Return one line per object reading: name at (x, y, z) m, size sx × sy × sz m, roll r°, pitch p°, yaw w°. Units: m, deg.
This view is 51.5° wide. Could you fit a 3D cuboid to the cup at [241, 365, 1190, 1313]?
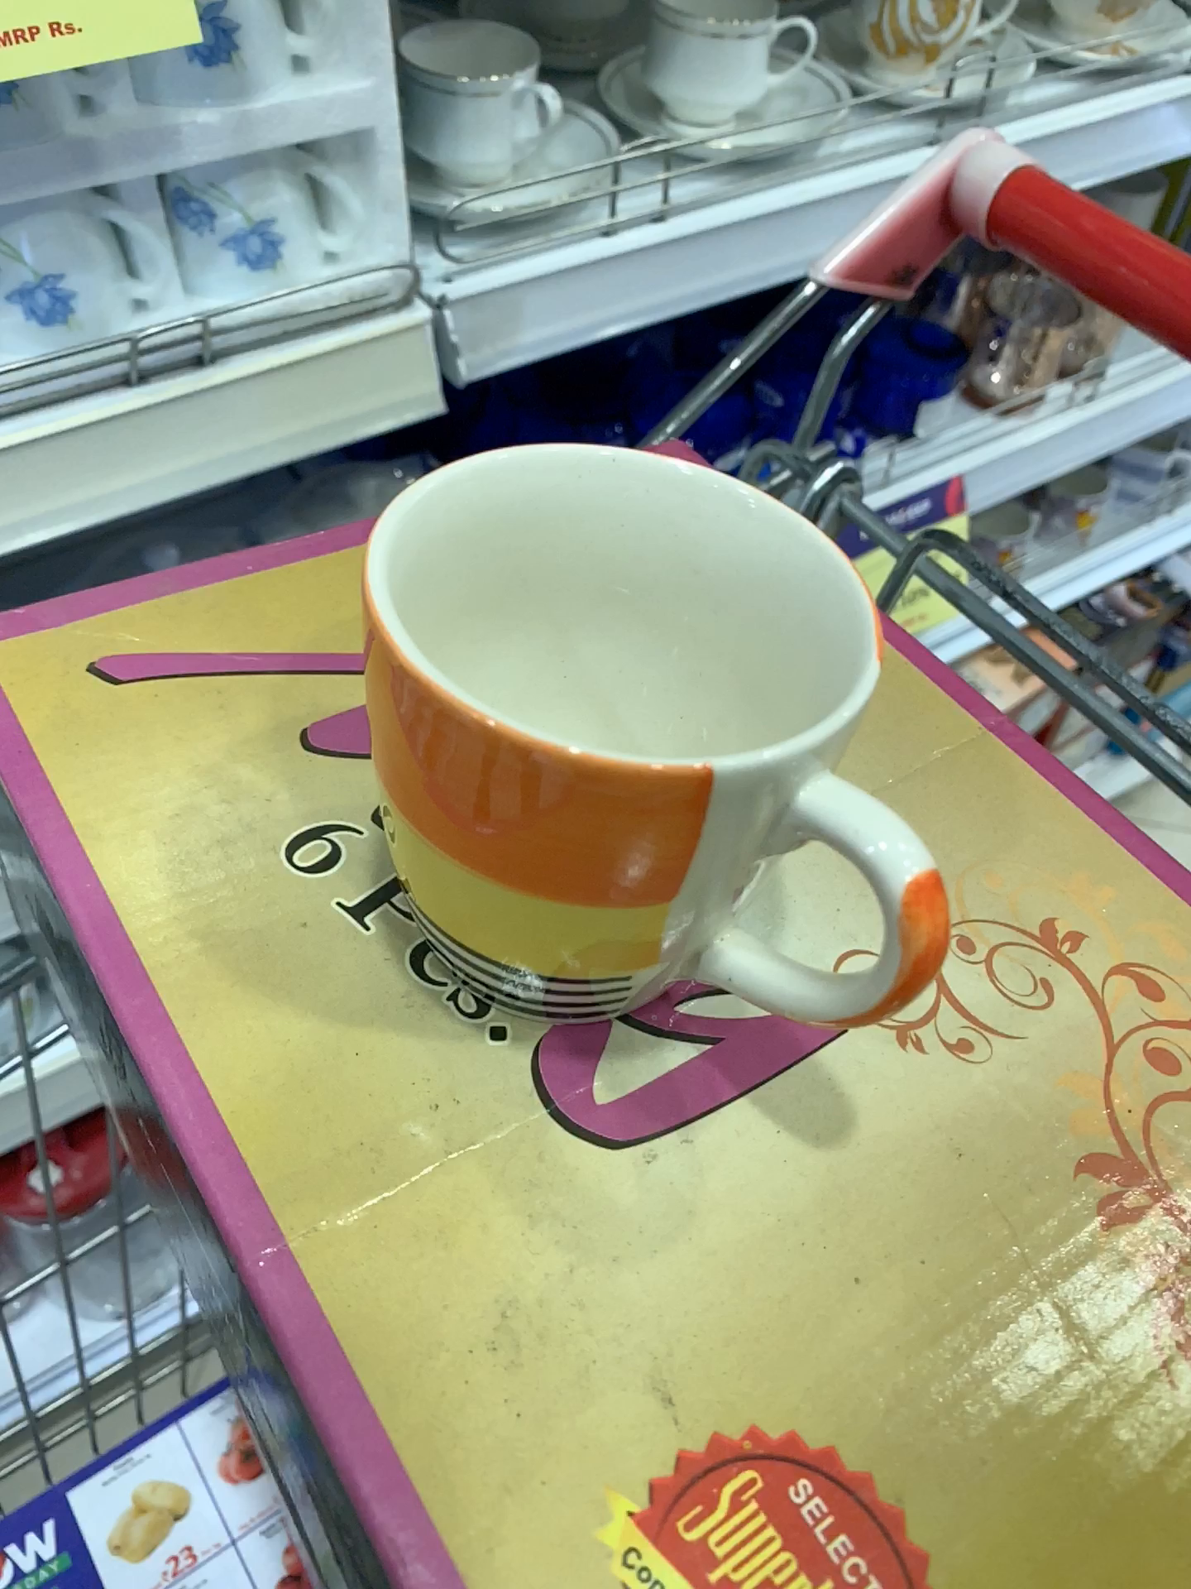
cup at (0.011, -0.001, 0.177) m, size 0.080 × 0.070 × 0.090 m, roll -30°, pitch 58°, yaw -35°
